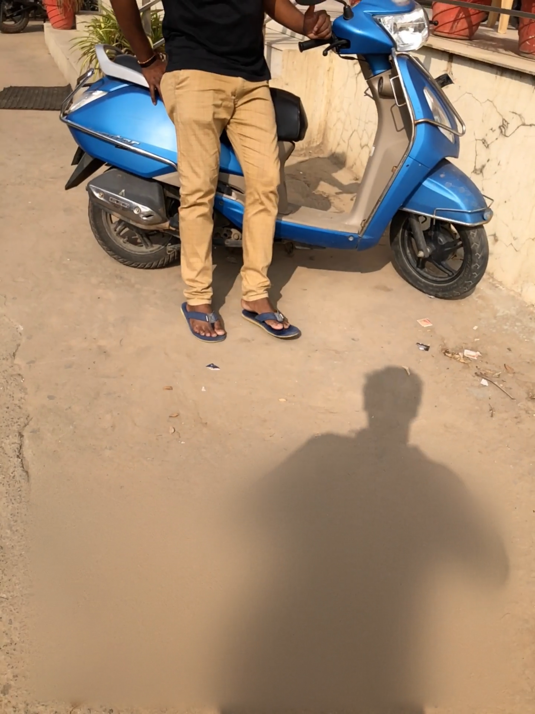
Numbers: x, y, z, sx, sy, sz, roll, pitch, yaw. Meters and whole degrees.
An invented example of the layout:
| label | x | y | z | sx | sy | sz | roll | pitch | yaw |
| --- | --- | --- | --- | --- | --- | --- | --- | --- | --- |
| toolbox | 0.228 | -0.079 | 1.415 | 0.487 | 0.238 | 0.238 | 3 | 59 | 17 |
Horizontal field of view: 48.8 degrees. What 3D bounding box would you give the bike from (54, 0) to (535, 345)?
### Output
| label | x | y | z | sx | sy | sz | roll | pitch | yaw |
| --- | --- | --- | --- | --- | --- | --- | --- | --- | --- |
| bike | 0.080 | -0.759 | 2.189 | 1.567 | 1.020 | 0.598 | 10 | 34 | 9 |
